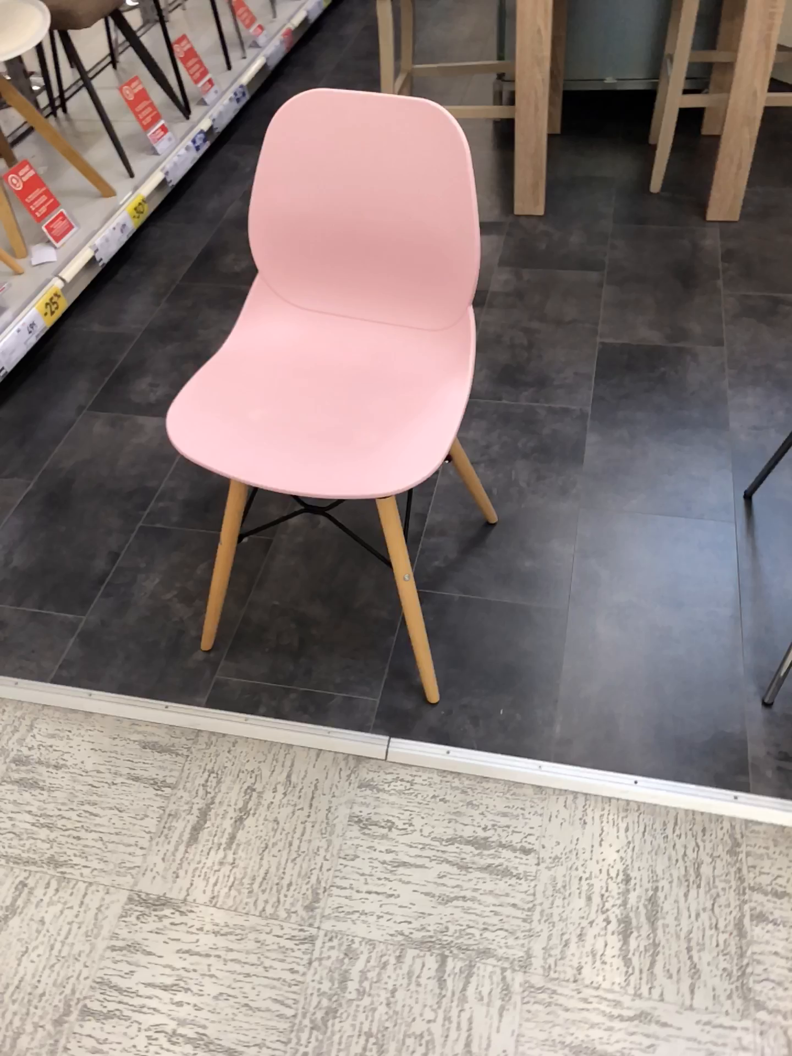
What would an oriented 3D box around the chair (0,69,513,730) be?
[{"bbox_3d":[-0.152,-0.191,1.426,0.551,0.847,0.552,11,48,15],"label":"chair"}]
